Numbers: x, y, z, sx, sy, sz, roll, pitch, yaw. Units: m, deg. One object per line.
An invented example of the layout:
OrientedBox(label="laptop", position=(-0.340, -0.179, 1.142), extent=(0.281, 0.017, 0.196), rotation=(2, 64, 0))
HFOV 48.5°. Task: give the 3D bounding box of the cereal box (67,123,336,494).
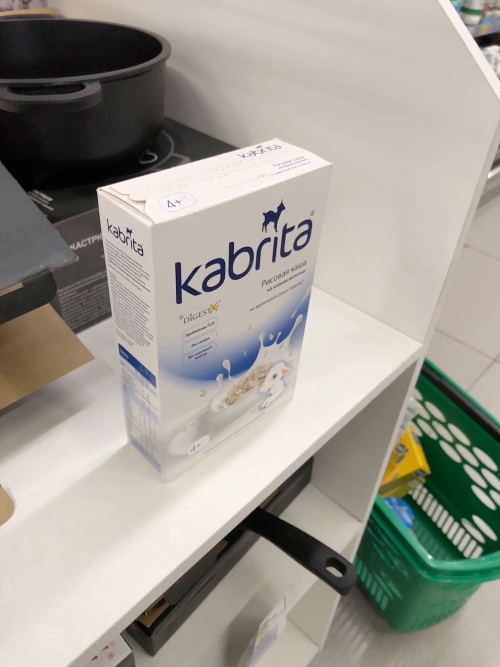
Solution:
OrientedBox(label="cereal box", position=(-0.029, -0.013, 0.370), extent=(0.140, 0.209, 0.060), rotation=(-28, 50, -34))
